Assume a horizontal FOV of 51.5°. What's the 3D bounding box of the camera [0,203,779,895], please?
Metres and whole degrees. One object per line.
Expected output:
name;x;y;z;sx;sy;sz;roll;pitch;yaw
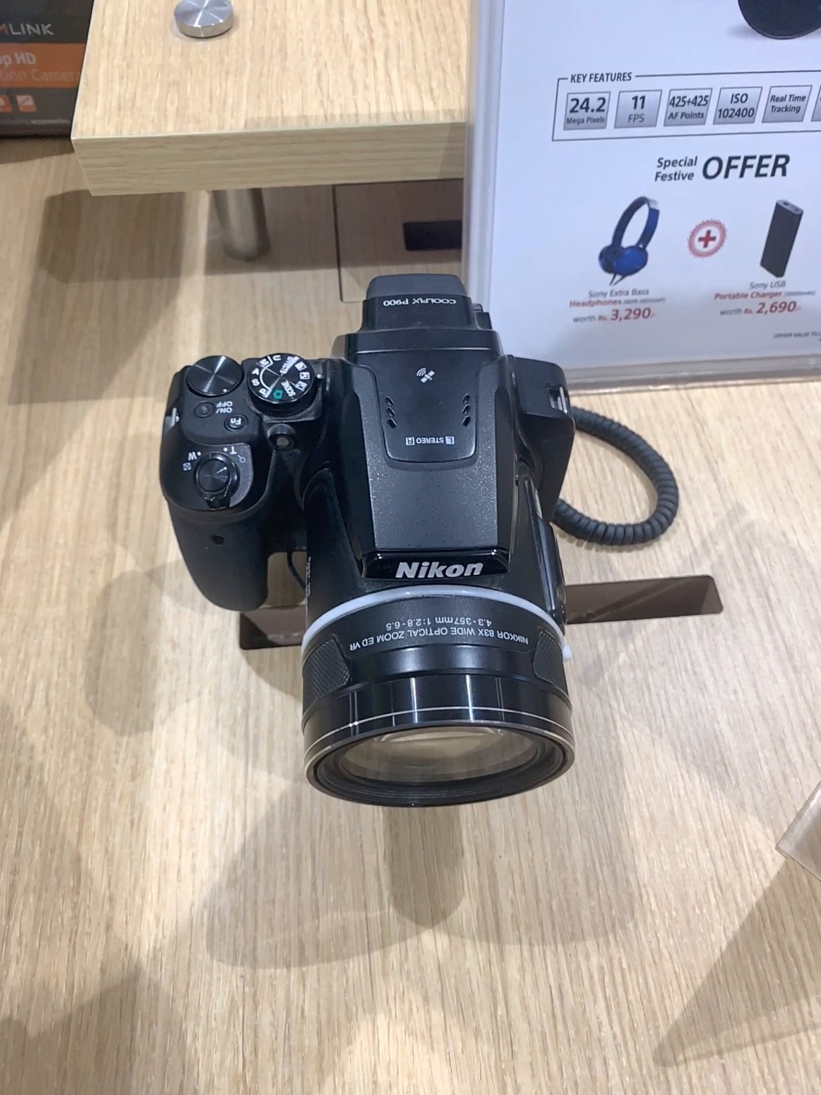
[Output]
camera;-0.011;-0.002;0.226;0.140;0.090;0.150;-4;58;-3
